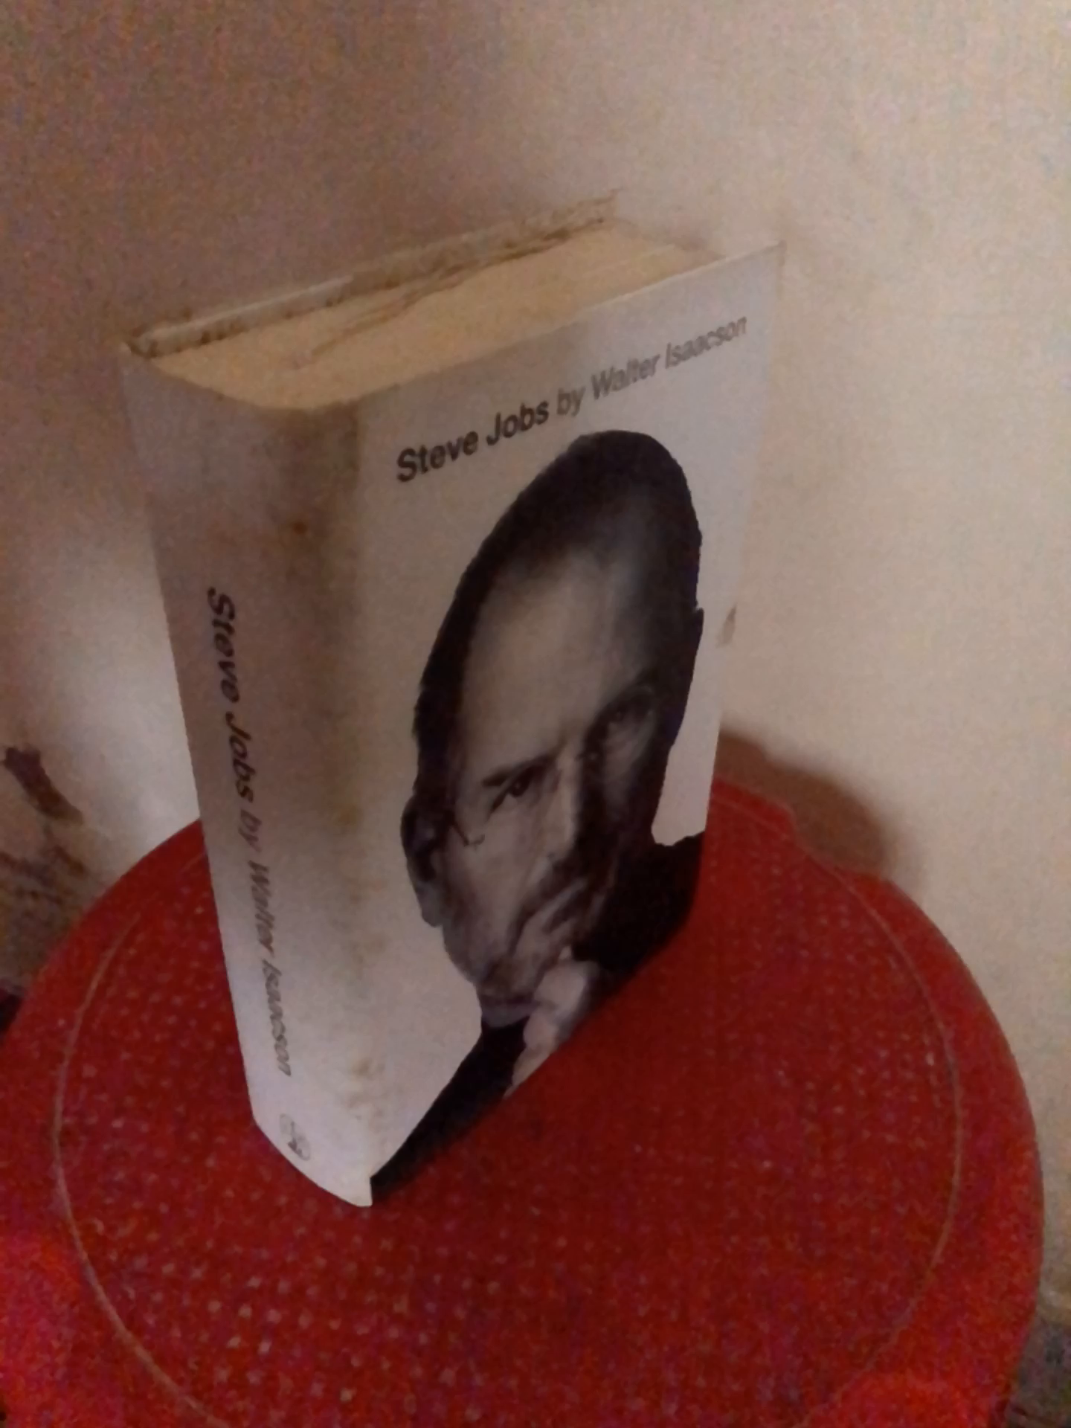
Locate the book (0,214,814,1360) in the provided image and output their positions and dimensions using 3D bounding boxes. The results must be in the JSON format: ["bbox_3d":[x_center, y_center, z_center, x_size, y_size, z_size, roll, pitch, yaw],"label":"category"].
[{"bbox_3d":[-0.017,0.016,0.296,0.060,0.229,0.171,27,42,31],"label":"book"}]
